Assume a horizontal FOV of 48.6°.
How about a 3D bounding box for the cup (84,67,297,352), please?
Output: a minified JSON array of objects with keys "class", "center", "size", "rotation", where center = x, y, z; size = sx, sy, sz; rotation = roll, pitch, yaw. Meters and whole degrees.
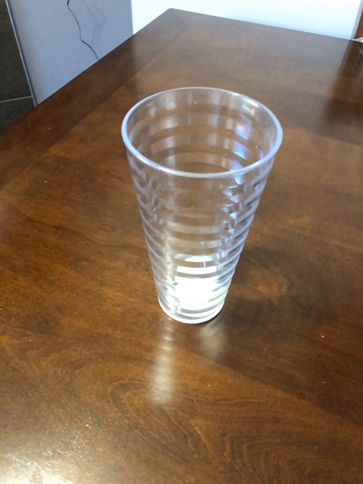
[{"class":"cup","center":[0.009,-0.018,0.314],"size":[0.100,0.179,0.100],"rotation":[0,48,-1]}]
